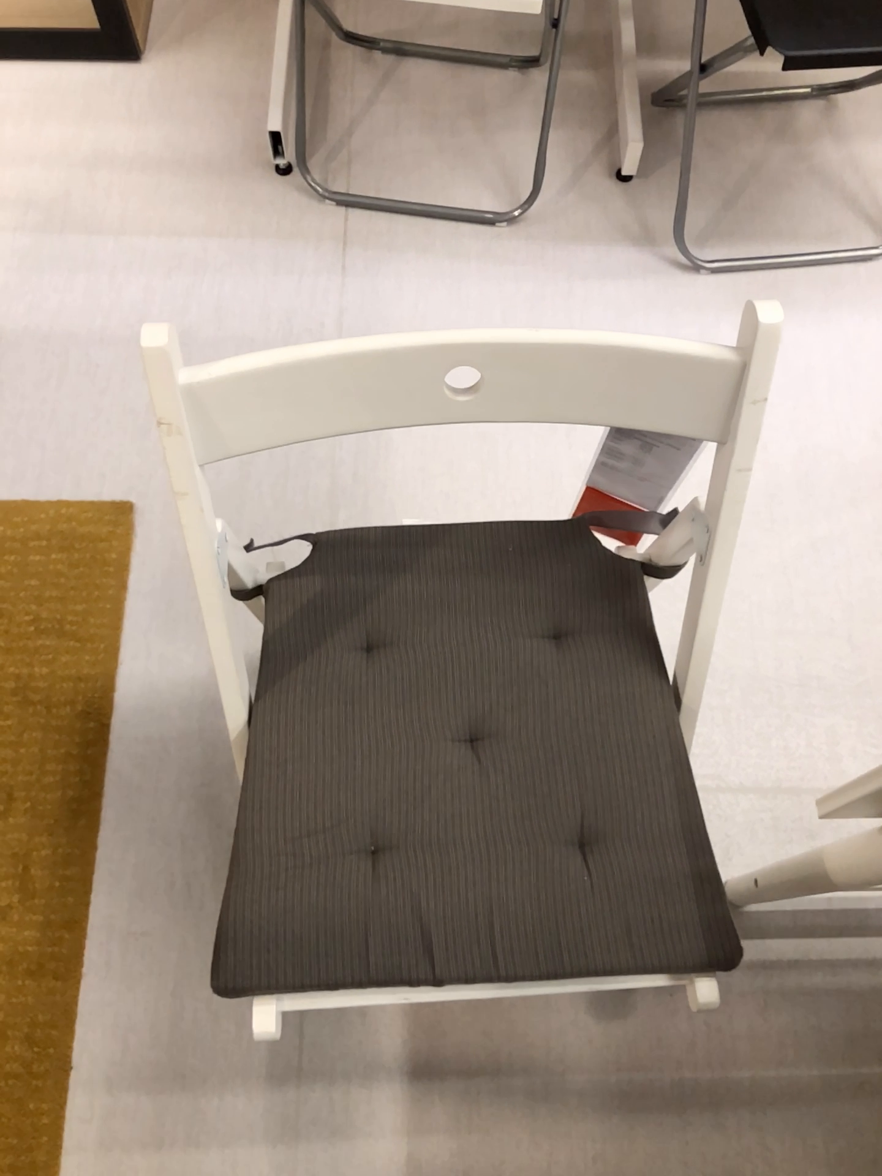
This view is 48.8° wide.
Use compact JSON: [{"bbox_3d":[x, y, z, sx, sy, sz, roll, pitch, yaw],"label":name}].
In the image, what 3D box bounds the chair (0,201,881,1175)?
[{"bbox_3d":[0.007,0.131,0.773,0.440,0.698,0.451,-2,69,-2],"label":"chair"}]
